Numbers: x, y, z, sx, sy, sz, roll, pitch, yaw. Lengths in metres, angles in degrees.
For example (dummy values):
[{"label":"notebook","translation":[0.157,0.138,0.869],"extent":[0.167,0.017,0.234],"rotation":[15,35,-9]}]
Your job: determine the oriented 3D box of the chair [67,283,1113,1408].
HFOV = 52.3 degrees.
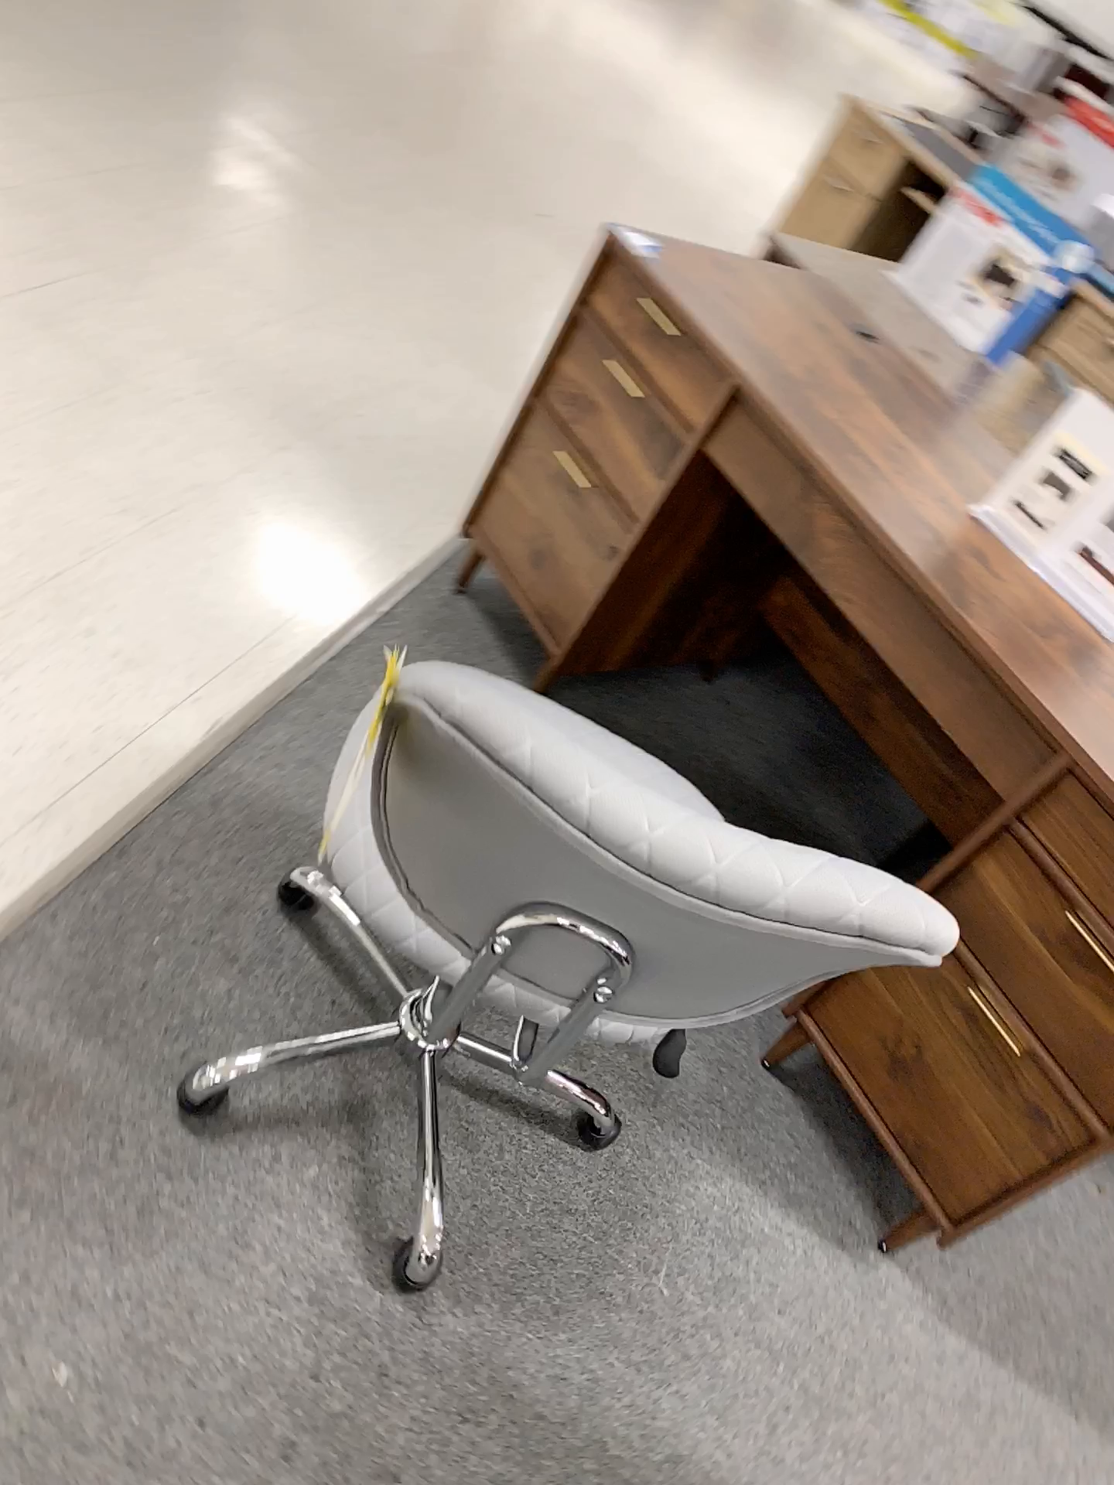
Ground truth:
[{"label":"chair","translation":[0.002,0.143,1.250],"extent":[0.630,0.875,0.643],"rotation":[30,40,-5]}]
